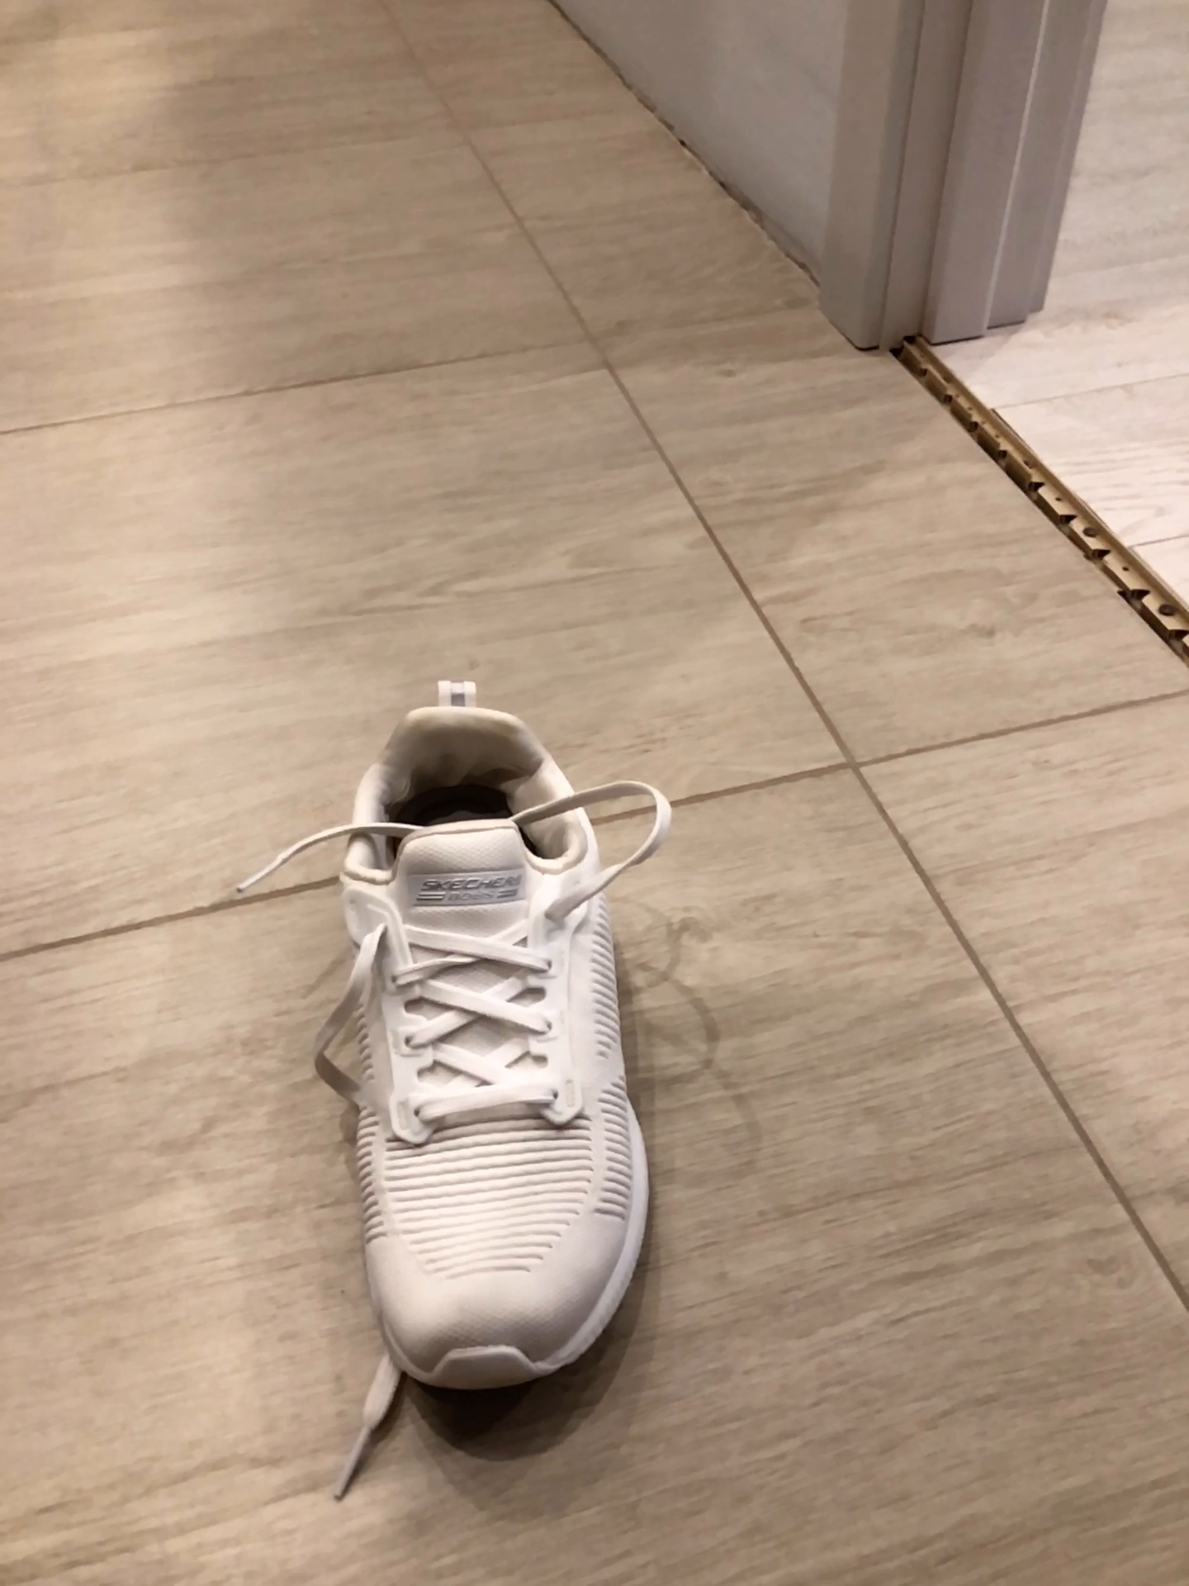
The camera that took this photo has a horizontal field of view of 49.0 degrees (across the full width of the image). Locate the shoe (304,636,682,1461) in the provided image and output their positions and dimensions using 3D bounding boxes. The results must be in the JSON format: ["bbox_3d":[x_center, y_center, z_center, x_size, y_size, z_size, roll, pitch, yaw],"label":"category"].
[{"bbox_3d":[-0.036,0.072,0.432,0.090,0.119,0.232,-6,47,-4],"label":"shoe"}]
